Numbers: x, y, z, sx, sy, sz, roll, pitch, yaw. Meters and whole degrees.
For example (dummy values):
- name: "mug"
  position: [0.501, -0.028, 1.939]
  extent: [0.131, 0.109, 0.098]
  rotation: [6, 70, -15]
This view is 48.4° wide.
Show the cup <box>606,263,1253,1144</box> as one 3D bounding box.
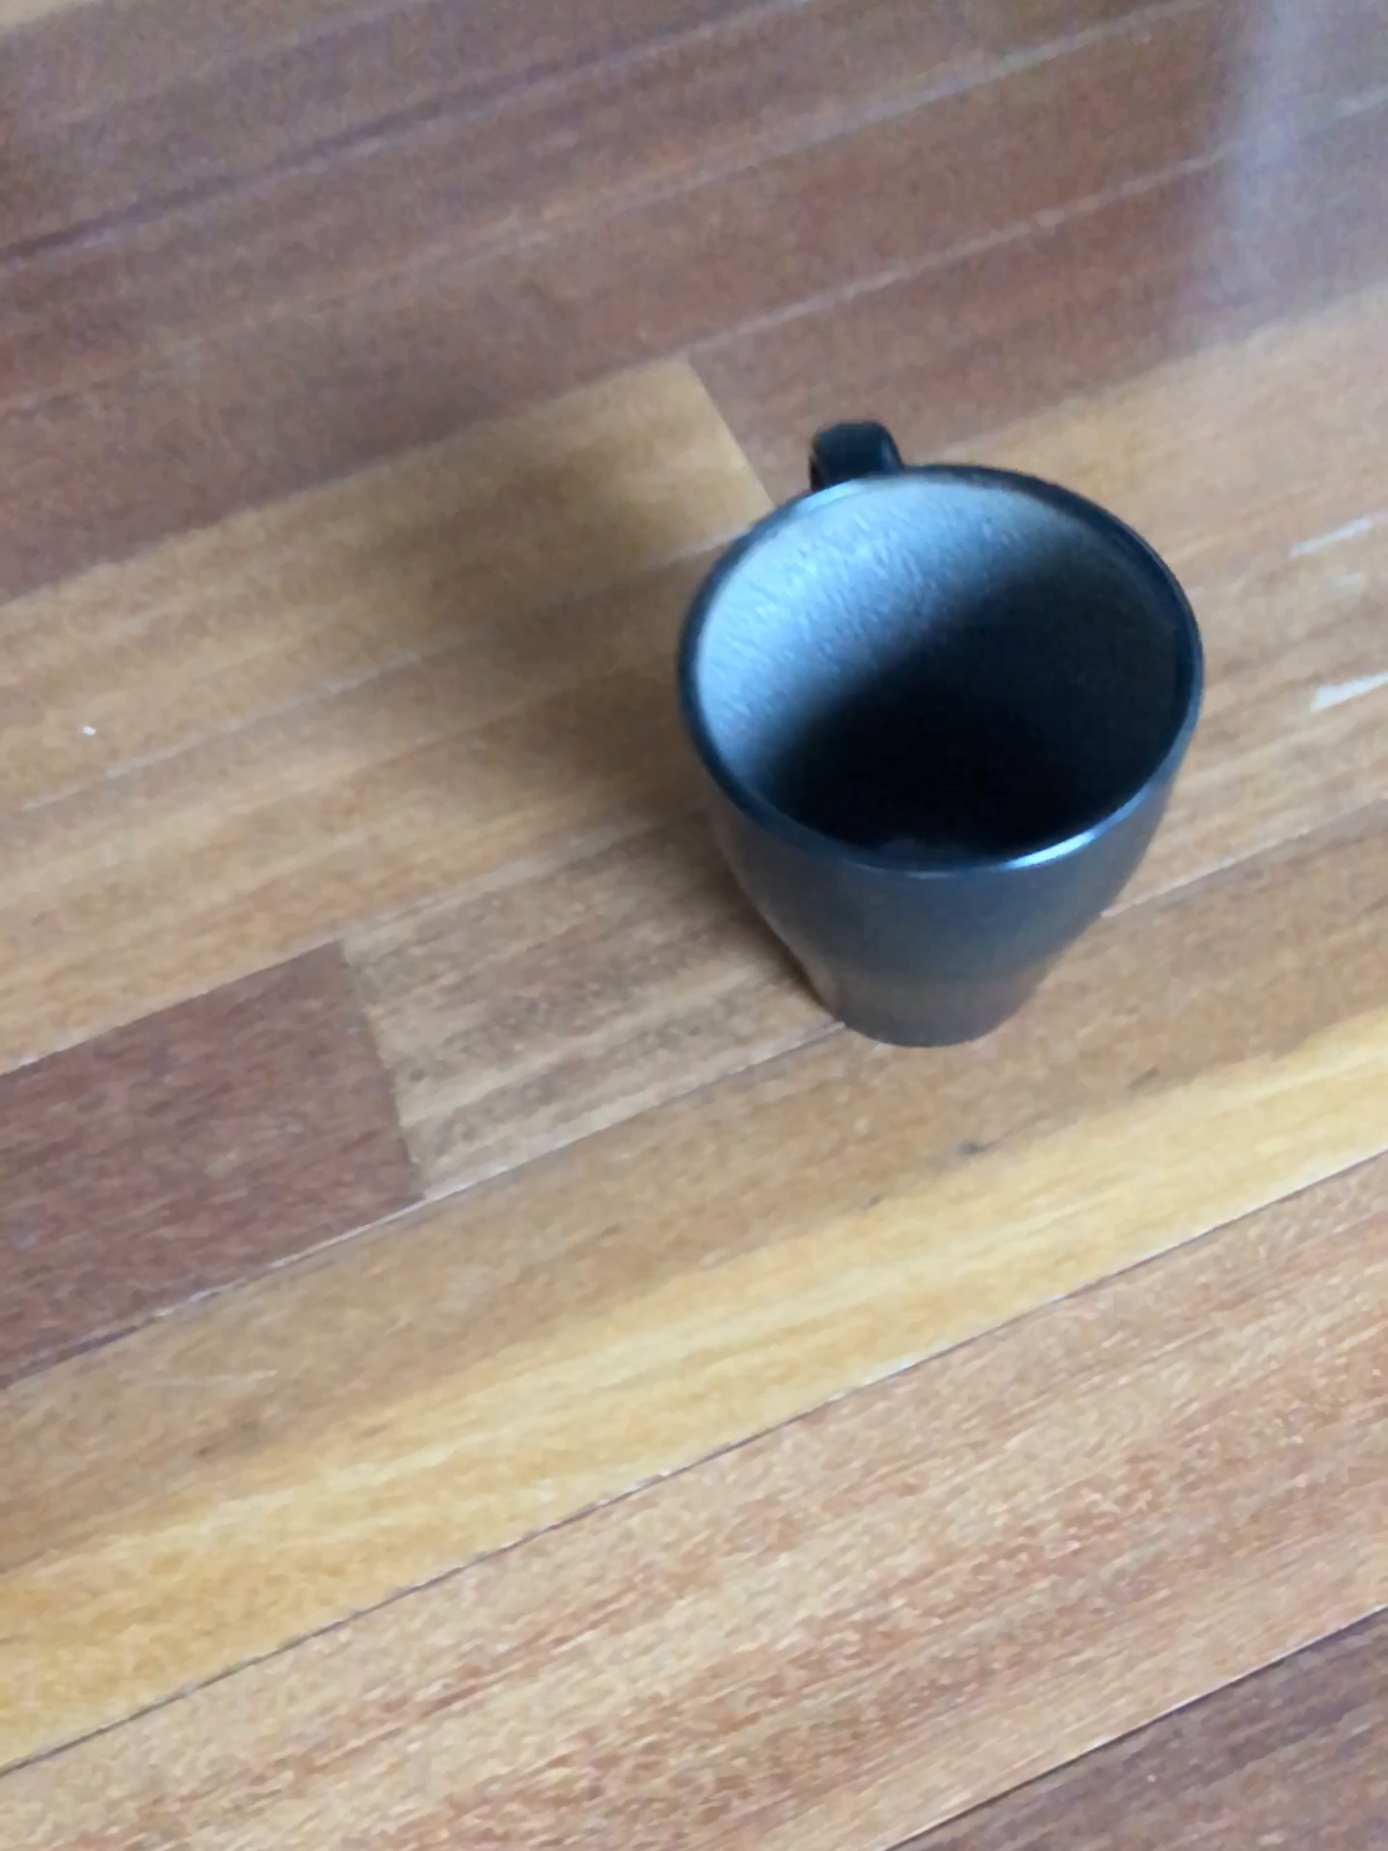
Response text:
- name: "cup"
  position: [0.040, -0.043, 0.321]
  extent: [0.090, 0.100, 0.138]
  rotation: [-9, 60, 2]
